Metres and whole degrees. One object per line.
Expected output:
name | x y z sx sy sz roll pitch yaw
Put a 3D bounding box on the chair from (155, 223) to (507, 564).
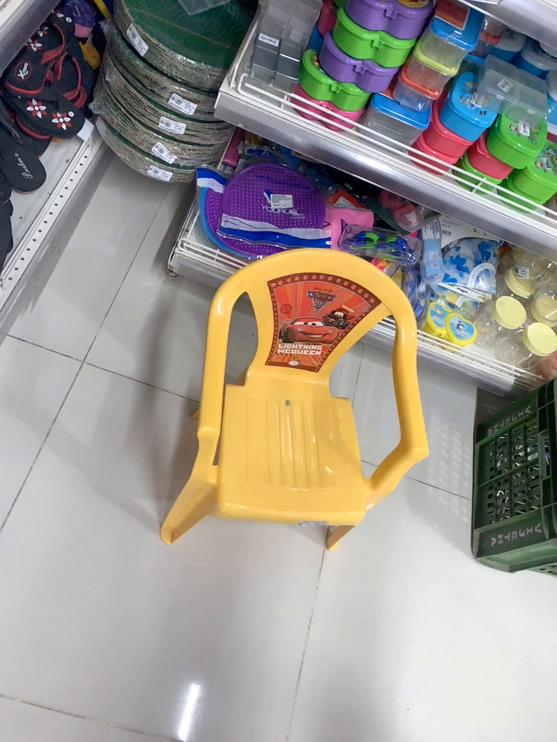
chair | 0.029 0.093 0.958 0.390 0.499 0.370 7 63 -15
